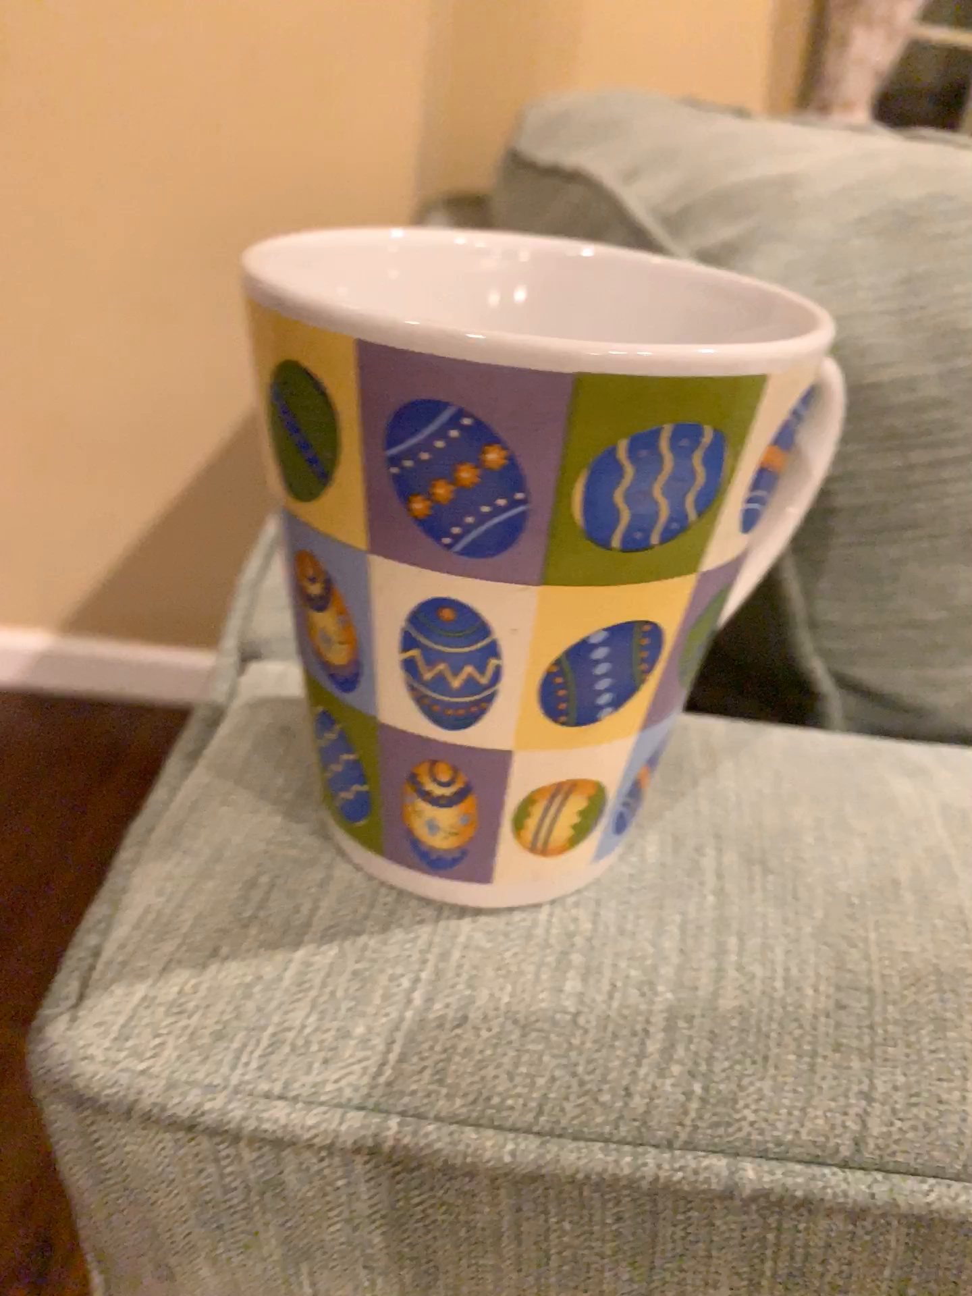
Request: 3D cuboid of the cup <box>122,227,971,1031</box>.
[{"bbox_3d":[0.017,-0.022,0.189,0.096,0.087,0.123,29,35,36],"label":"cup"}]
